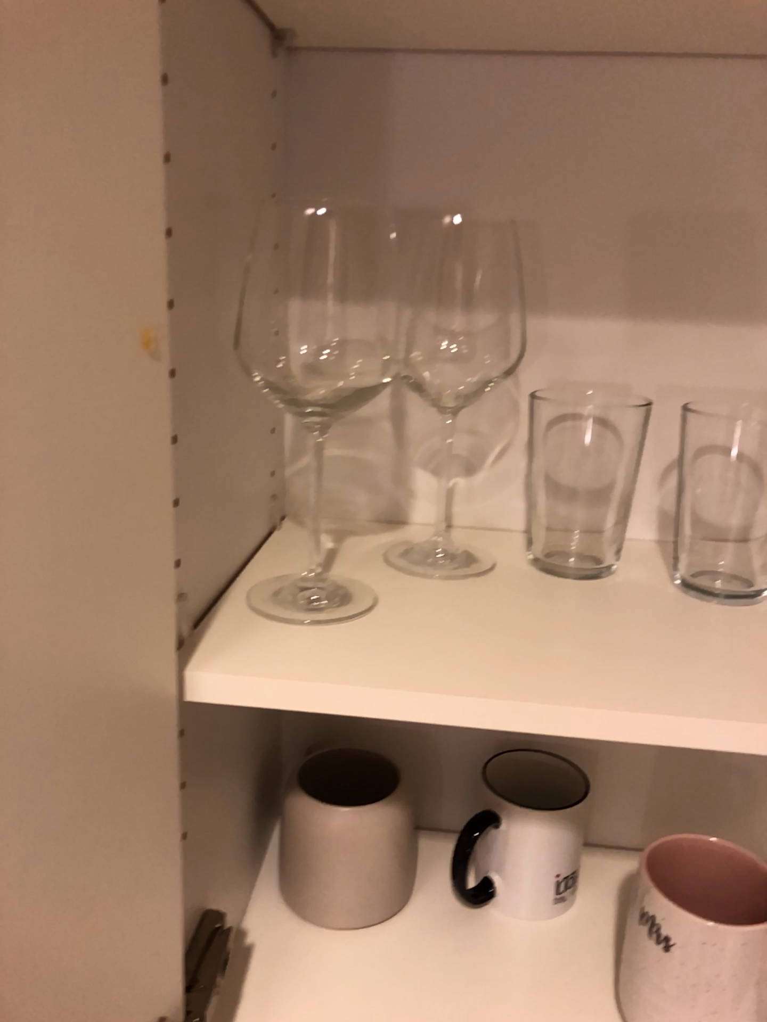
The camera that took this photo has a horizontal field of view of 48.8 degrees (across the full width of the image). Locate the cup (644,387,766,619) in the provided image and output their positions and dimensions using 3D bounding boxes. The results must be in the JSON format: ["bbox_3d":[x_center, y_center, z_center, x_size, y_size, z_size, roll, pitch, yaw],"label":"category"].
[{"bbox_3d":[0.220,-0.009,0.520,0.080,0.120,0.090,3,15,1],"label":"cup"}]

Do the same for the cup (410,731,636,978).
[{"bbox_3d":[0.104,0.245,0.625,0.140,0.090,0.090,-12,21,-41],"label":"cup"}]

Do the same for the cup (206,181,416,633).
[{"bbox_3d":[-0.042,-0.062,0.516,0.110,0.249,0.090,2,15,1],"label":"cup"}]

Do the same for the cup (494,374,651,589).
[{"bbox_3d":[0.126,-0.024,0.591,0.080,0.129,0.090,2,15,1],"label":"cup"}]

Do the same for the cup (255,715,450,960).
[{"bbox_3d":[-0.030,0.233,0.630,0.110,0.090,0.140,-2,16,-17],"label":"cup"}]

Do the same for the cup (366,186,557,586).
[{"bbox_3d":[0.049,-0.087,0.603,0.110,0.259,0.090,2,15,1],"label":"cup"}]

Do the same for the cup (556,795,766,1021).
[{"bbox_3d":[0.189,0.261,0.490,0.140,0.110,0.090,16,20,40],"label":"cup"}]
